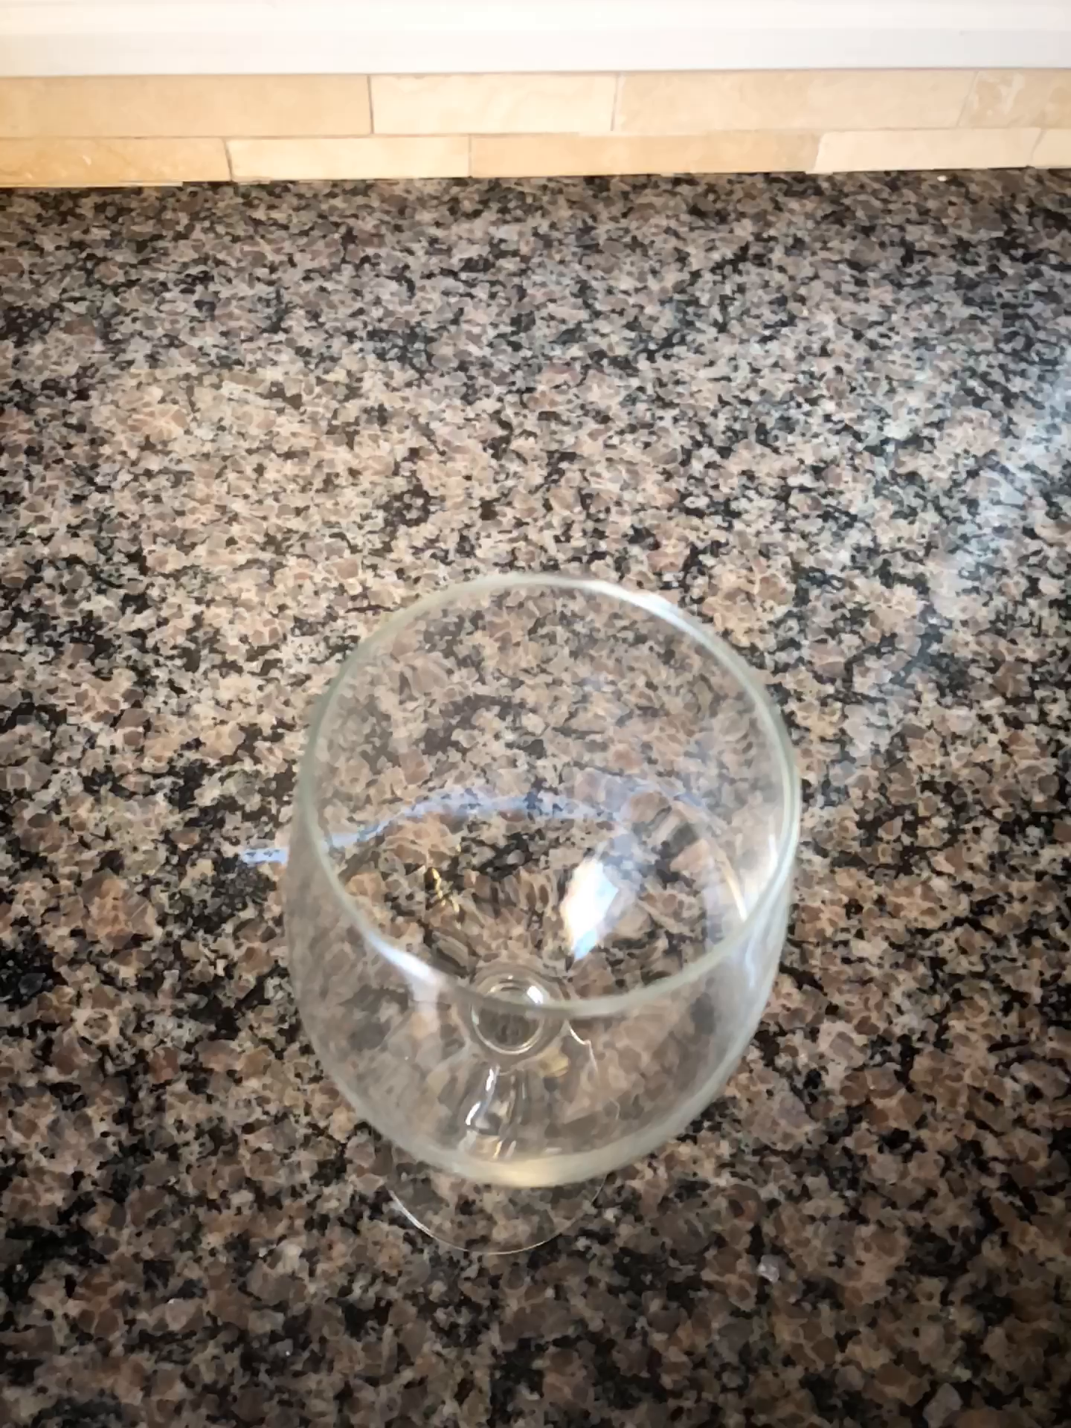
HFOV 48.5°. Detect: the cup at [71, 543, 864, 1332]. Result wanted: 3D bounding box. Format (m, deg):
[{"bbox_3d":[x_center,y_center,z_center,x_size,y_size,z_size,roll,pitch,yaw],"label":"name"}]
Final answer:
[{"bbox_3d":[-0.015,0.071,0.261,0.095,0.218,0.097,2,58,-3],"label":"cup"}]
